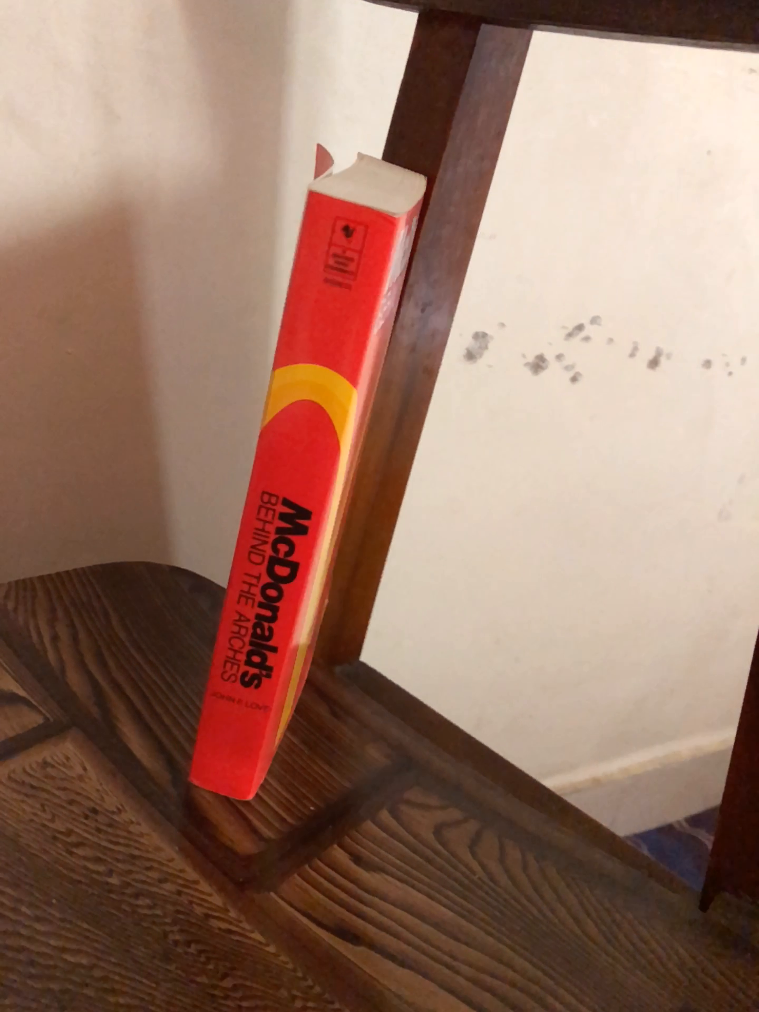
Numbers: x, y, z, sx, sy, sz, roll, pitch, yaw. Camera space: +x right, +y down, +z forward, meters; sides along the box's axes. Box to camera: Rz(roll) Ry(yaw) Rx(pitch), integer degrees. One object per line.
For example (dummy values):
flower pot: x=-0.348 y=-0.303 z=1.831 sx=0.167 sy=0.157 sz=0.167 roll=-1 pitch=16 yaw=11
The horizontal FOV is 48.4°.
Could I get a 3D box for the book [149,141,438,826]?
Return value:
book: x=-0.030 y=-0.024 z=0.369 sx=0.040 sy=0.239 sz=0.191 roll=15 pitch=22 yaw=2
